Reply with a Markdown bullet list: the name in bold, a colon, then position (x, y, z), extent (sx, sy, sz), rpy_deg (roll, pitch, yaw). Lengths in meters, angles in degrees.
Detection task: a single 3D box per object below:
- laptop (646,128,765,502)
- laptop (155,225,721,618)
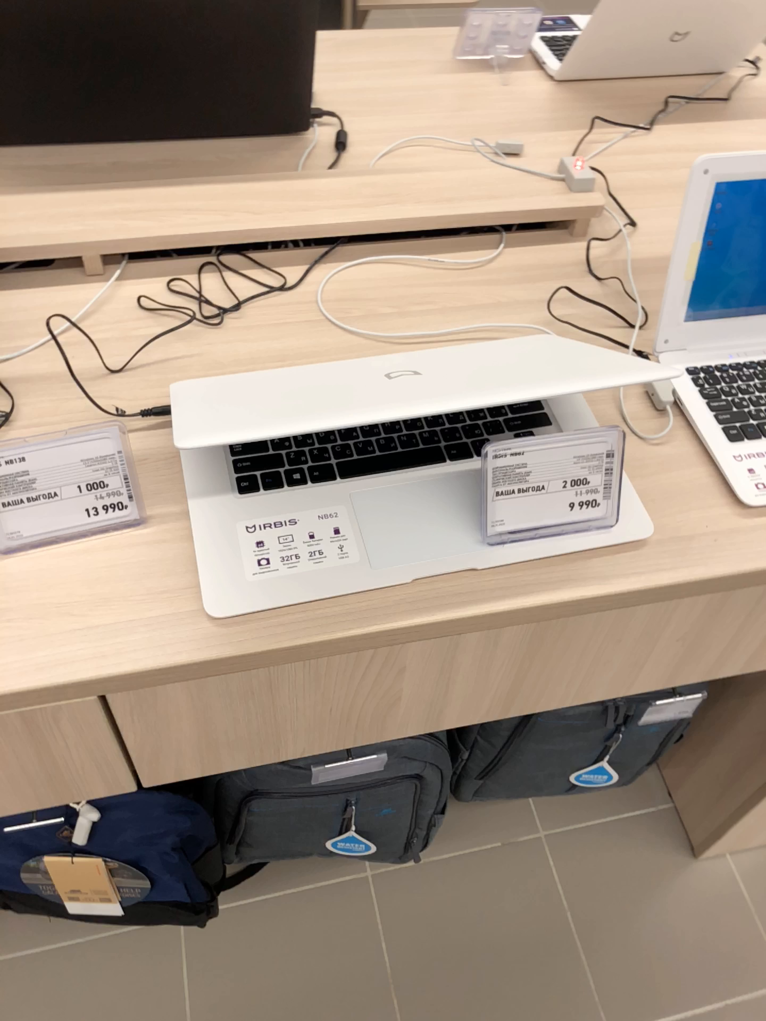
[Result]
- **laptop**: position (0.407, -0.168, 0.700), extent (0.263, 0.168, 0.231), rpy_deg (-7, 52, -8)
- **laptop**: position (0.026, -0.080, 0.633), extent (0.350, 0.115, 0.224), rpy_deg (-10, 54, -12)
